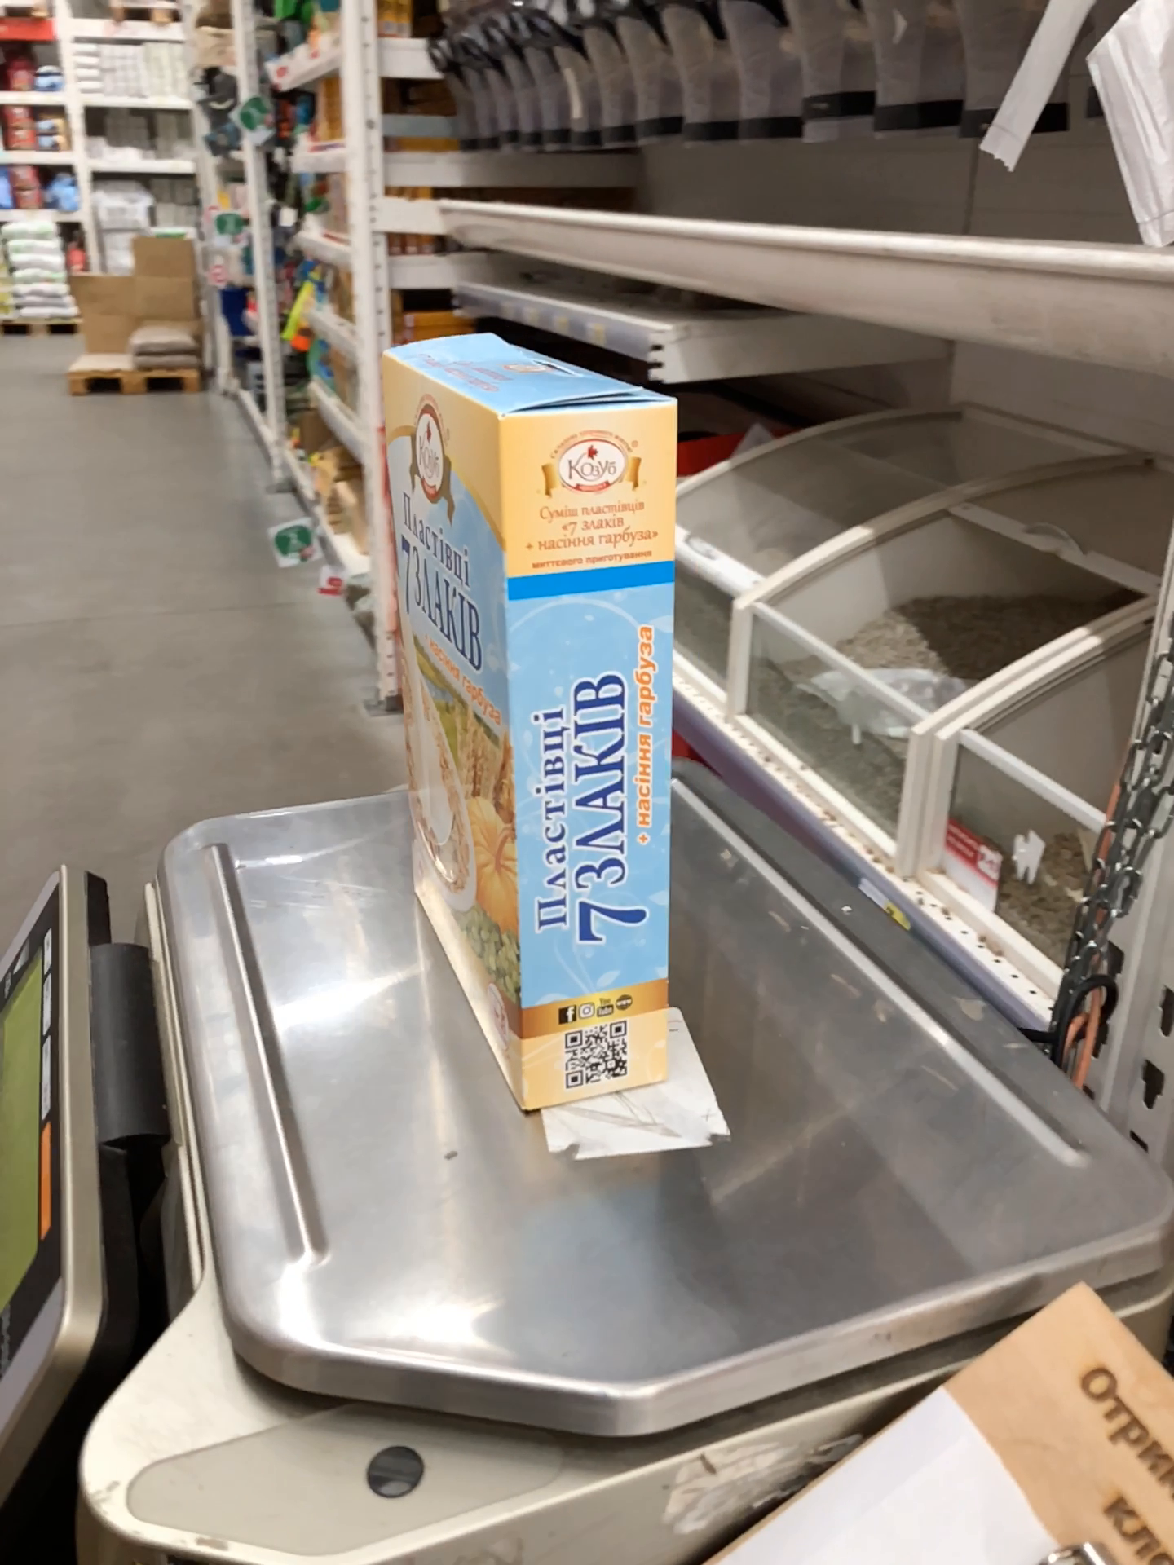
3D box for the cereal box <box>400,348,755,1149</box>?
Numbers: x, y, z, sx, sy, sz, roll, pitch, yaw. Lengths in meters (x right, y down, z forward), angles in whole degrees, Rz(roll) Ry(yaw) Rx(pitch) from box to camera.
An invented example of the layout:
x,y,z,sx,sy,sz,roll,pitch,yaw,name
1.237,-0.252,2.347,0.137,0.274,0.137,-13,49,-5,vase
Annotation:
x,y,z,sx,sy,sz,roll,pitch,yaw,name
-0.010,-0.021,0.449,0.060,0.229,0.161,-9,26,-18,cereal box
